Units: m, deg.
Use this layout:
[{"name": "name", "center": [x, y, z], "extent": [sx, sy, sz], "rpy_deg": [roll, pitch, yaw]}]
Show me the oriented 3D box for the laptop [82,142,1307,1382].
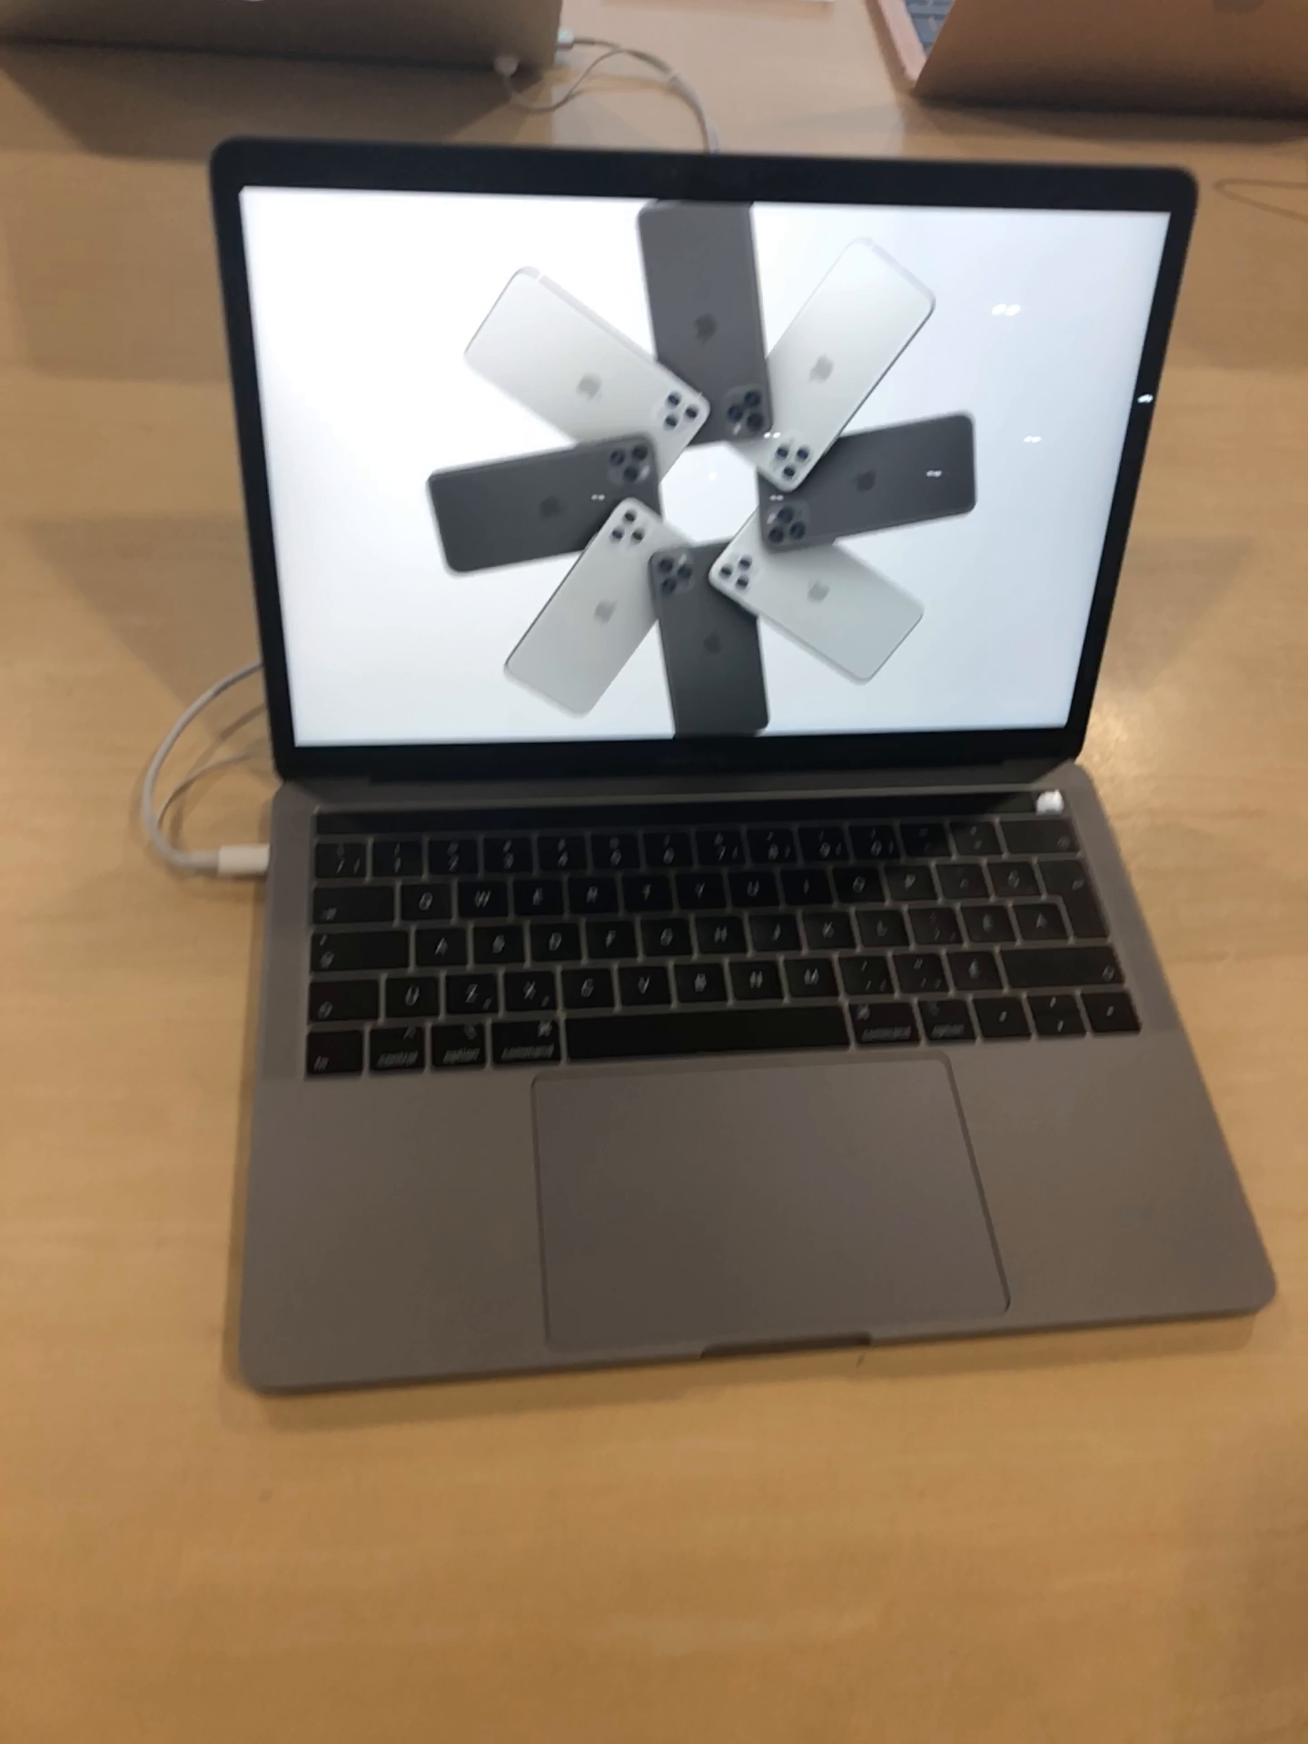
[{"name": "laptop", "center": [0.025, -0.039, 0.417], "extent": [0.296, 0.181, 0.296], "rpy_deg": [-2, 54, -9]}]
